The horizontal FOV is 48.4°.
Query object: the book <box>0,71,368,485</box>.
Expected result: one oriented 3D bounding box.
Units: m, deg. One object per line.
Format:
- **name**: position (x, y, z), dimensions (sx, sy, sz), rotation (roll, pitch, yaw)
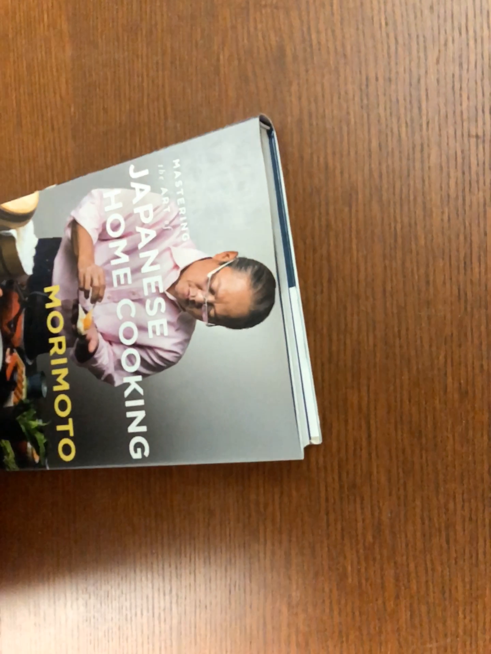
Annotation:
- **book**: position (-0.084, -0.010, 0.369), dimensions (0.301, 0.030, 0.220), rotation (-9, 86, 25)
